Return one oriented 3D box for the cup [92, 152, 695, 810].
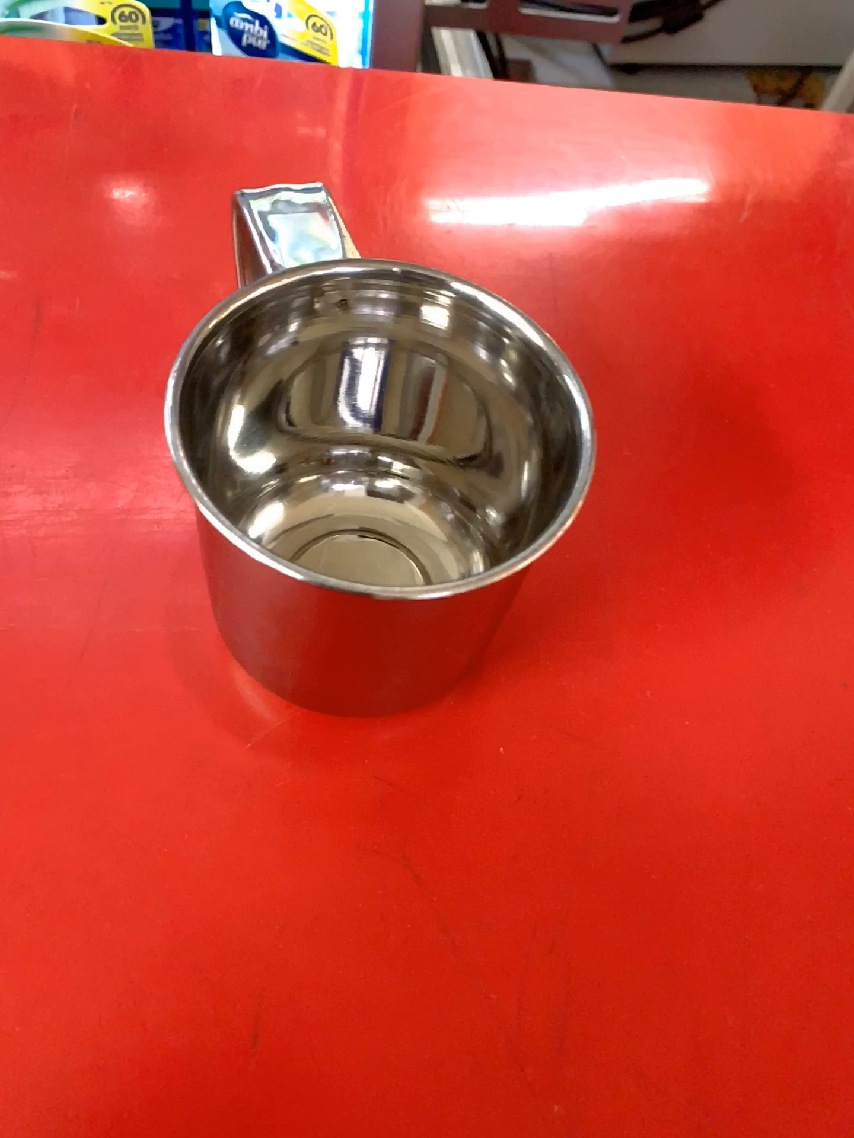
[{"bbox_3d":[-0.015,-0.022,0.196,0.080,0.070,0.111,-15,62,-17],"label":"cup"}]
